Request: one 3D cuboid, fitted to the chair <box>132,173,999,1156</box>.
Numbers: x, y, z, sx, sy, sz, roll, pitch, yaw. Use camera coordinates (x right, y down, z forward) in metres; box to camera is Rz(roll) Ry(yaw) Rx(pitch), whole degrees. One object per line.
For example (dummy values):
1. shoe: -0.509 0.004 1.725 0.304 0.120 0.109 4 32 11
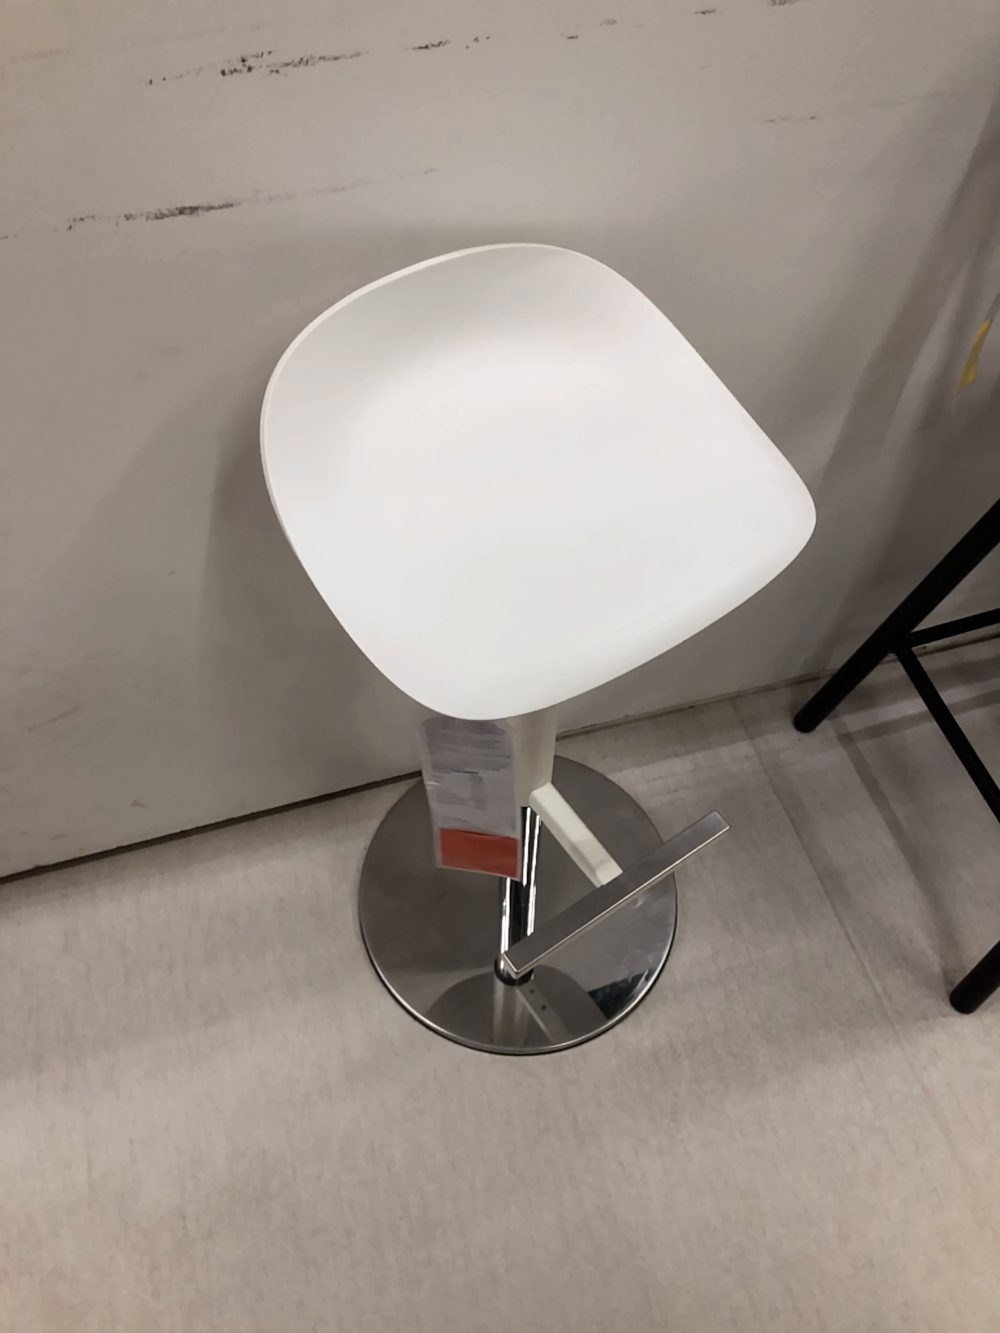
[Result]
1. chair: 0.041 0.045 1.096 0.441 0.746 0.512 -29 60 -20
